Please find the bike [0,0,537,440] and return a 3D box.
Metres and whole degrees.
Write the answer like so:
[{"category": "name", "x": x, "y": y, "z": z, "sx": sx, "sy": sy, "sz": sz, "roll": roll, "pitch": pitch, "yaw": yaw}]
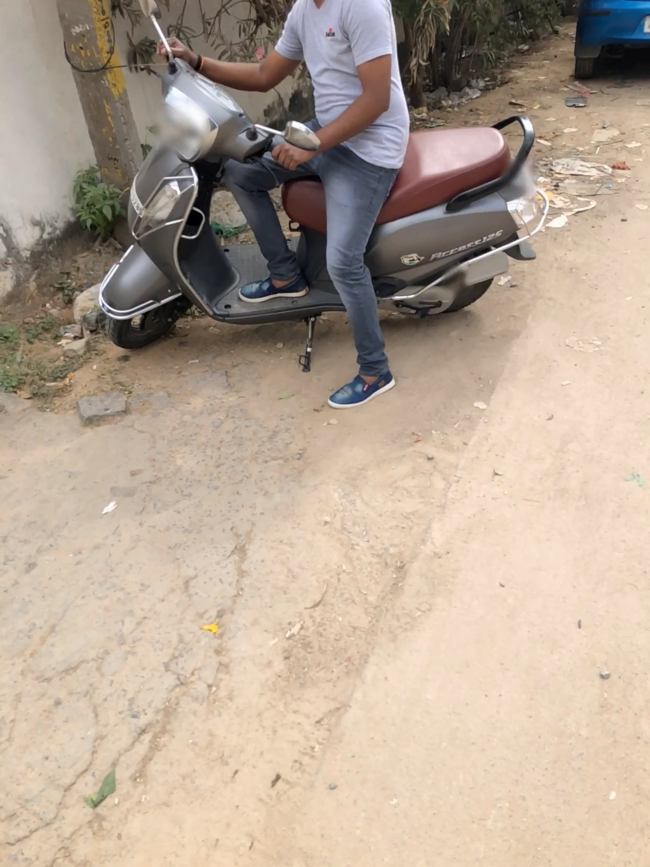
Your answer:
[{"category": "bike", "x": -0.108, "y": -0.756, "z": 2.416, "sx": 1.498, "sy": 1.196, "sz": 0.613, "roll": -11, "pitch": 34, "yaw": -7}]
